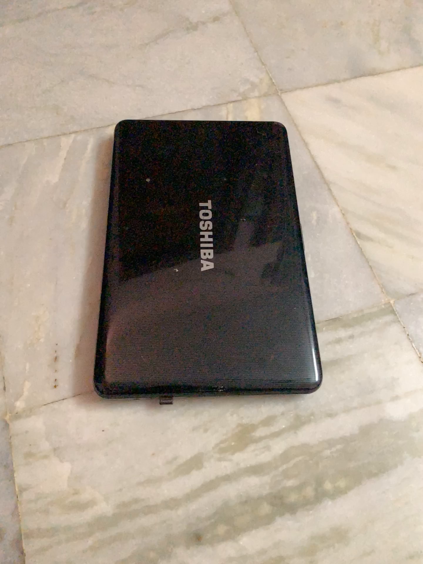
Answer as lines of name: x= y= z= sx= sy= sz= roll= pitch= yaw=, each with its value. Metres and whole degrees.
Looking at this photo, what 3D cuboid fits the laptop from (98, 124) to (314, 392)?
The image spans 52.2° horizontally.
laptop: x=-0.010 y=-0.052 z=0.517 sx=0.222 sy=0.003 sz=0.355 roll=0 pitch=65 yaw=-5
